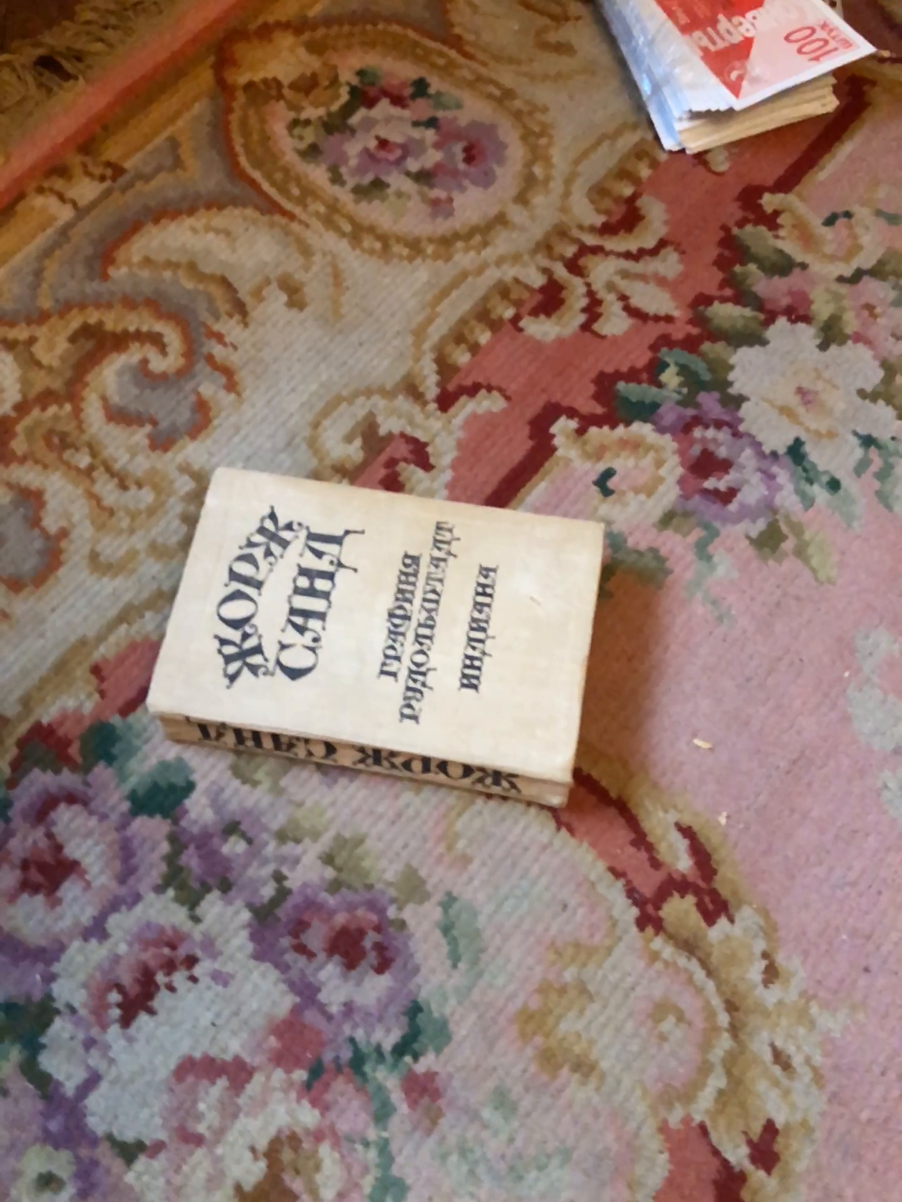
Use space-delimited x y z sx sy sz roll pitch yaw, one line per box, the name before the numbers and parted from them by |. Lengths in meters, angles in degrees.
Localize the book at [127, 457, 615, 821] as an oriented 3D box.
book | -0.035 0.018 0.529 0.220 0.057 0.150 9 69 6
